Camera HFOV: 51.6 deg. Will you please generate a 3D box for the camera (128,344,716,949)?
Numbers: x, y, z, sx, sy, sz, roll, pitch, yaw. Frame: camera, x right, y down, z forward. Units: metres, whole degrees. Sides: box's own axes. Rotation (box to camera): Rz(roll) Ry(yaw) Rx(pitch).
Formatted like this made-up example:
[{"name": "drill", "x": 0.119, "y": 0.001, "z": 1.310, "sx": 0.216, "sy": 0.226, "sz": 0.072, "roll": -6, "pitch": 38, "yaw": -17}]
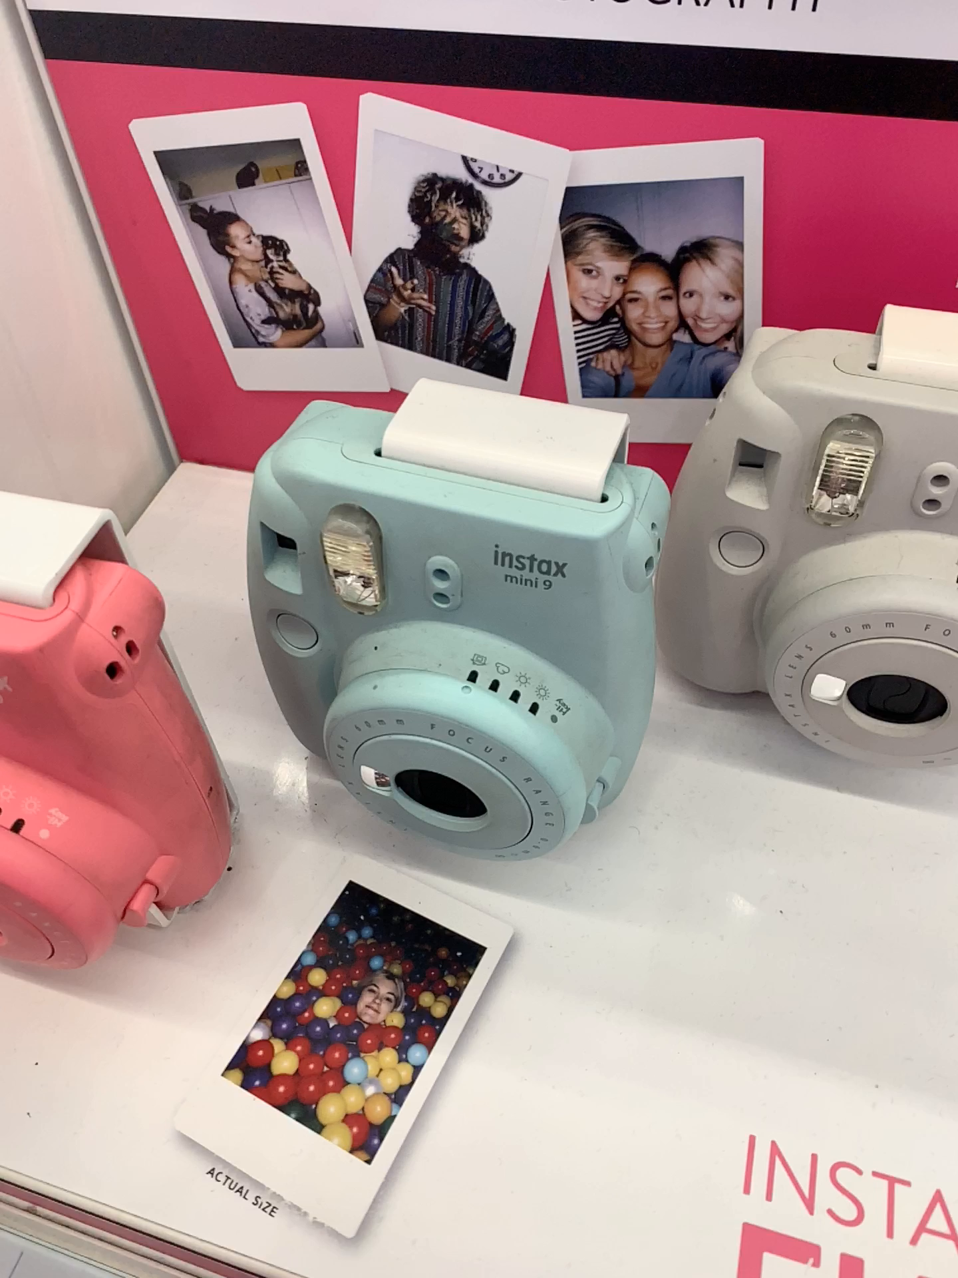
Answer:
[{"name": "camera", "x": -0.008, "y": 0.006, "z": 0.264, "sx": 0.110, "sy": 0.129, "sz": 0.071, "roll": 14, "pitch": 51, "yaw": 15}]
